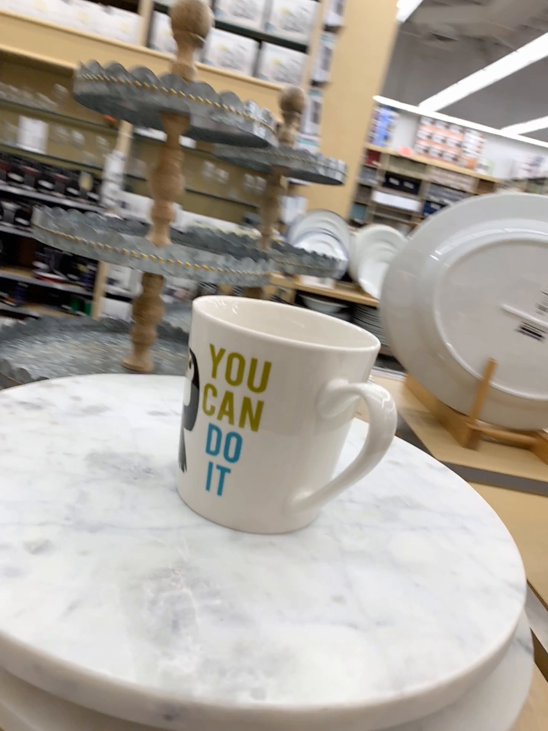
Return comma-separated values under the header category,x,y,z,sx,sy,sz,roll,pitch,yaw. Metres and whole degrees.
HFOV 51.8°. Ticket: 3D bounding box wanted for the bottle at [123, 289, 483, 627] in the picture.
category,x,y,z,sx,sy,sz,roll,pitch,yaw
bottle,0.007,0.033,0.305,0.104,0.107,0.143,0,20,-42
